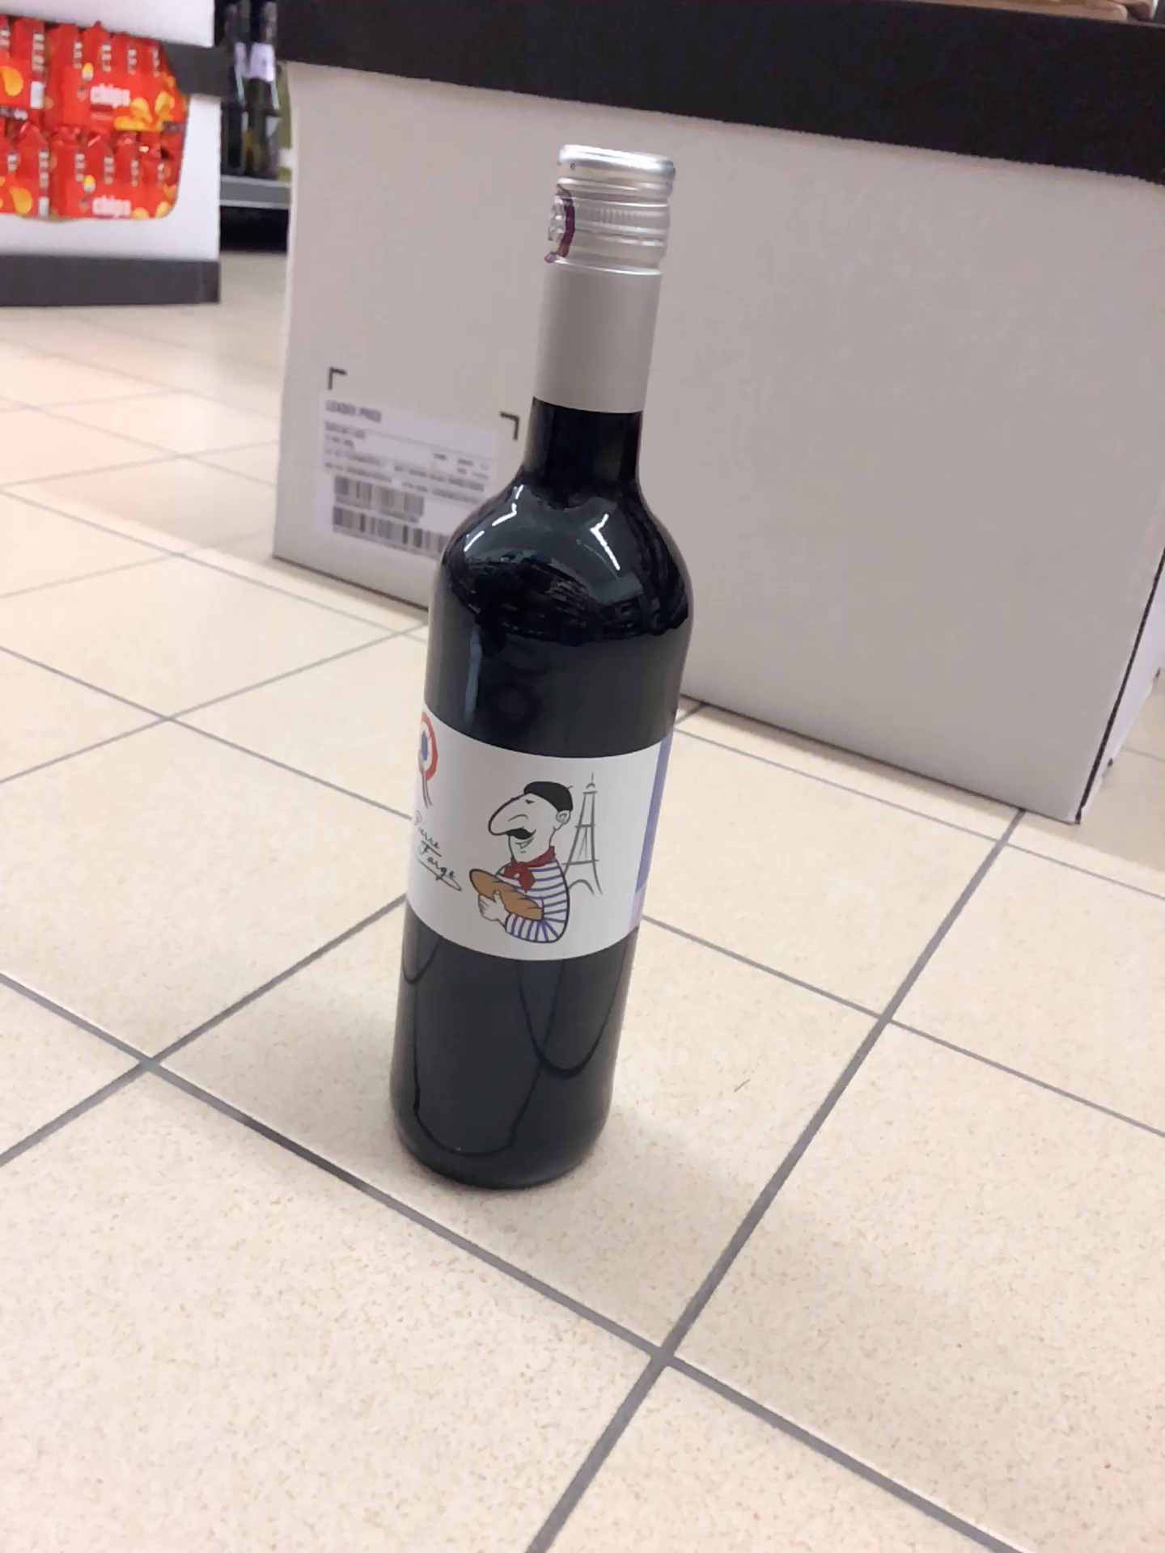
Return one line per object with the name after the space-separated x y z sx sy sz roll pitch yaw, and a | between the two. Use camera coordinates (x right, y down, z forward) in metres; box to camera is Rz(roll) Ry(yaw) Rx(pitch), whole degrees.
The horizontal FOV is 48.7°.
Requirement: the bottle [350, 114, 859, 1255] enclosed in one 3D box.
-0.002 -0.016 0.371 0.080 0.298 0.081 7 25 -3 | bottle
